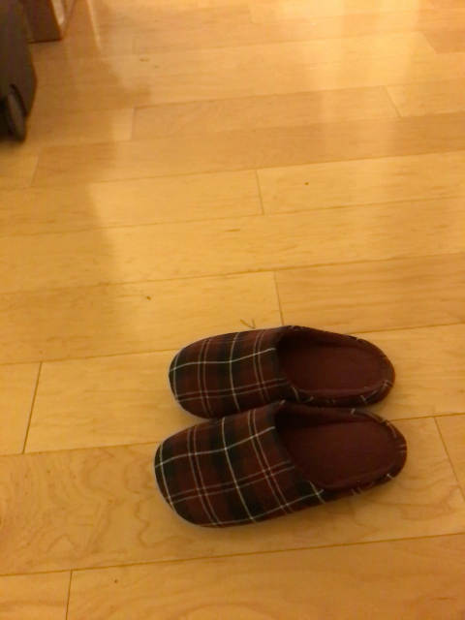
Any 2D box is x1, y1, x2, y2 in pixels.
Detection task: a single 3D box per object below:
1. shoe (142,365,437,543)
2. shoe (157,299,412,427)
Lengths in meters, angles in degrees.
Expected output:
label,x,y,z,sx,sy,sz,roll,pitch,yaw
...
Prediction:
label,x,y,z,sx,sy,sz,roll,pitch,yaw
shoe,0.050,0.143,0.522,0.270,0.050,0.121,-9,50,-5
shoe,0.051,0.057,0.574,0.260,0.050,0.121,-4,50,0
